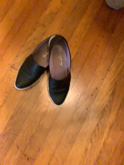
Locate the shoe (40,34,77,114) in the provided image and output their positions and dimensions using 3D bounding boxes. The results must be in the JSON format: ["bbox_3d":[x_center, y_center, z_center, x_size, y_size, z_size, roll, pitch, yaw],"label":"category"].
[{"bbox_3d":[-0.010,-0.028,0.444,0.100,0.080,0.250,-5,105,-4],"label":"shoe"}]

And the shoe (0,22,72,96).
[{"bbox_3d":[-0.089,-0.084,0.485,0.100,0.080,0.260,40,82,2],"label":"shoe"}]
